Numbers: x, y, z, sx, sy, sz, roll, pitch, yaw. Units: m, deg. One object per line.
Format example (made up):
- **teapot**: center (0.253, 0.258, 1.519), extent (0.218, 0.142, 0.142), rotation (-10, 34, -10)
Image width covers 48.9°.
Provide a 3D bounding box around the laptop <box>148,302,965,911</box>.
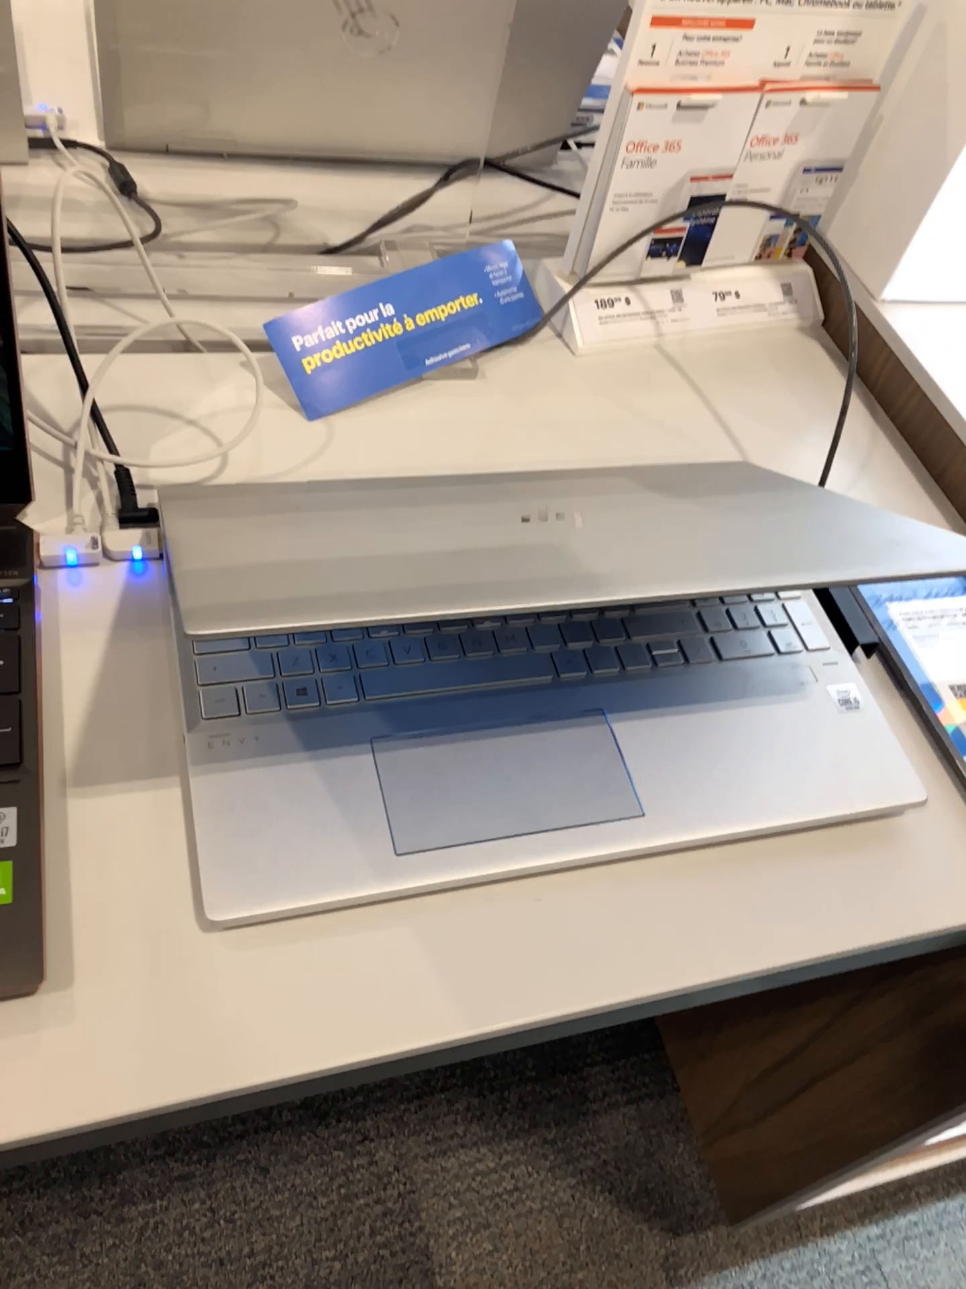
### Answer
- **laptop**: center (0.038, -0.035, 0.491), extent (0.346, 0.116, 0.230), rotation (-5, 54, -17)
